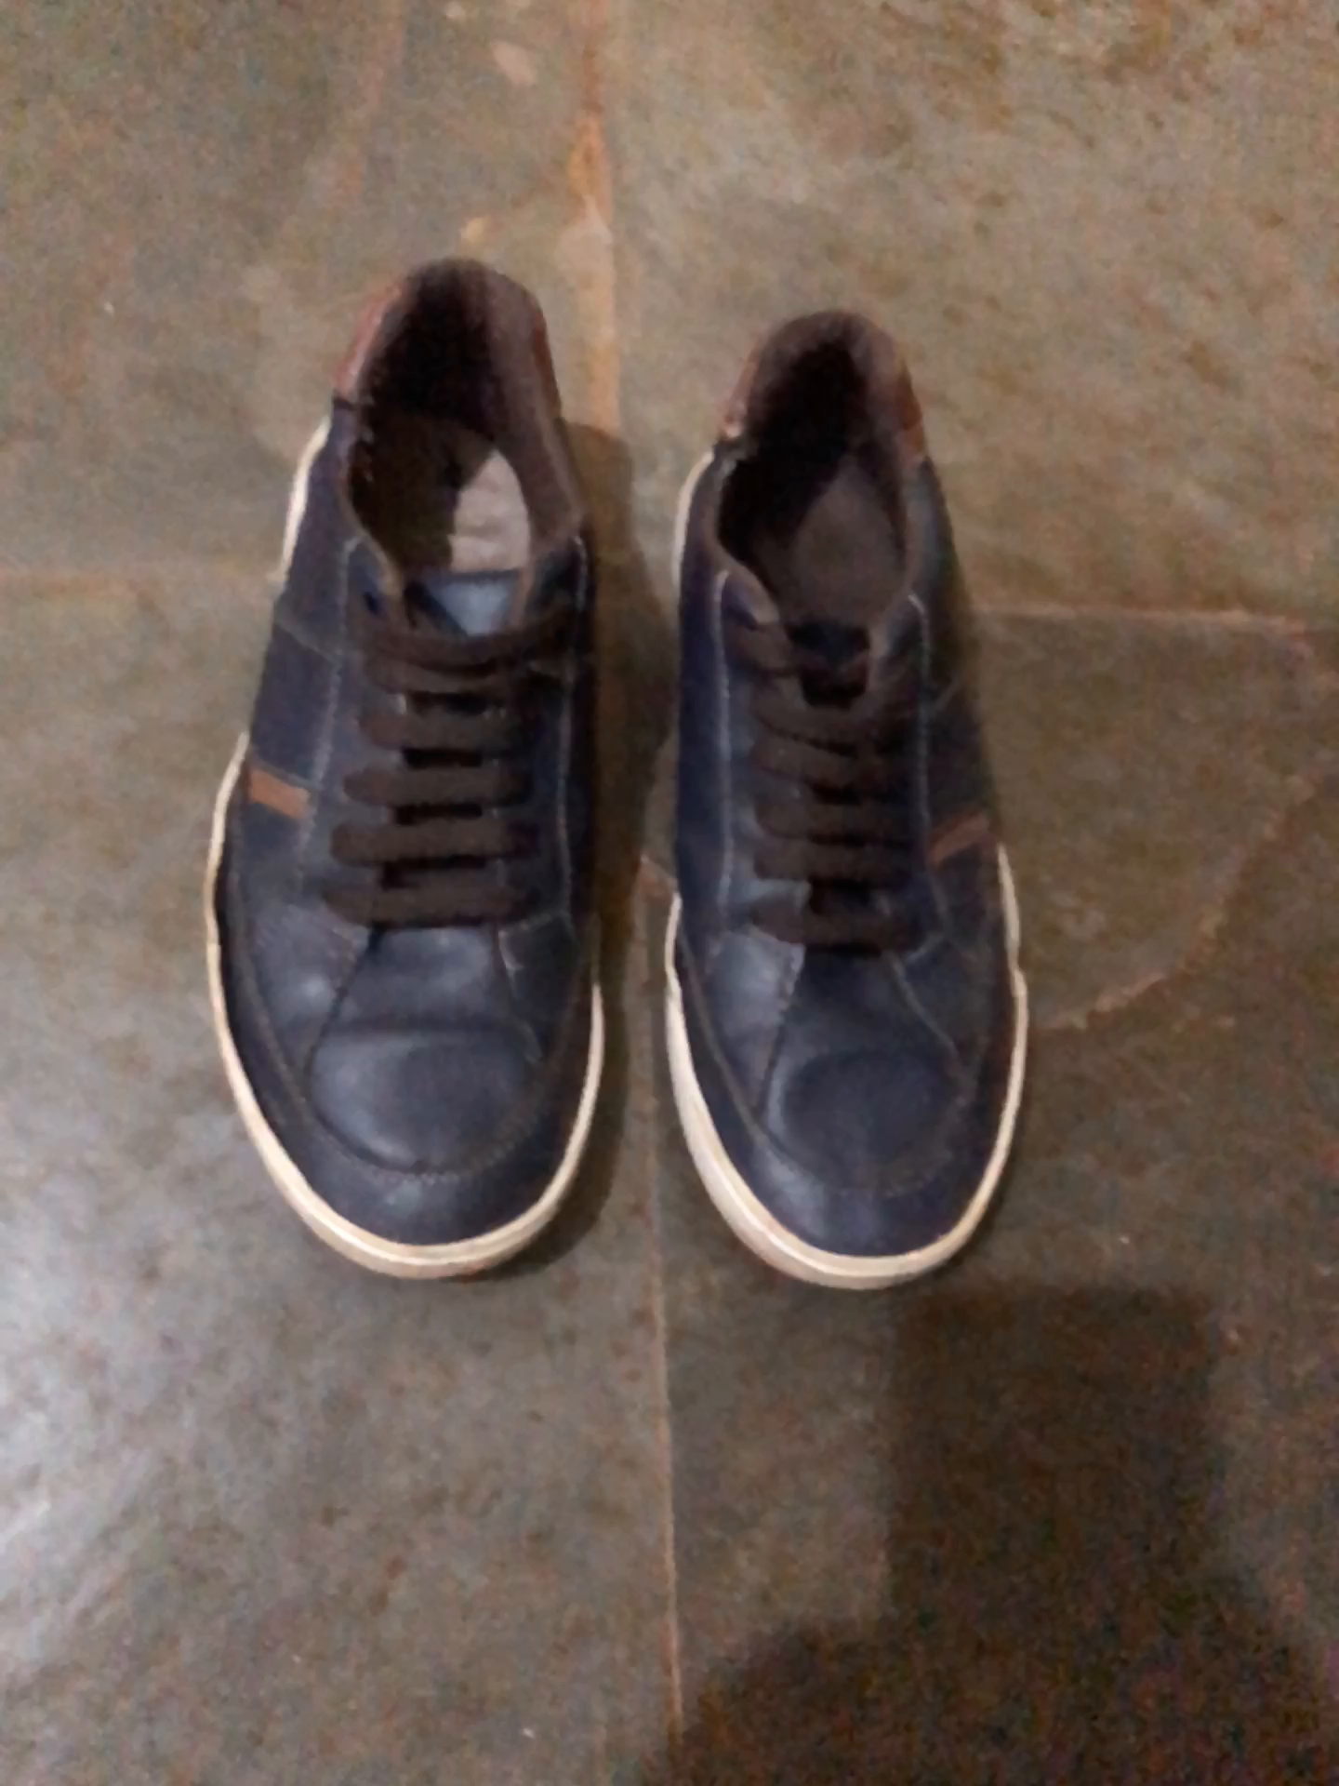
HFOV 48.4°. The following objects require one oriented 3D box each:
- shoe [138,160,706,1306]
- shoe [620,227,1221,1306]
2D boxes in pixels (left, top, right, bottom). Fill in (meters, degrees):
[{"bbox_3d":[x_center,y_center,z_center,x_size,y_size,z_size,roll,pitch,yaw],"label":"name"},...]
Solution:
[{"bbox_3d":[-0.067,-0.042,0.411,0.120,0.100,0.291,1,71,-11],"label":"shoe"},{"bbox_3d":[0.057,-0.036,0.436,0.110,0.100,0.291,-1,72,-12],"label":"shoe"}]
